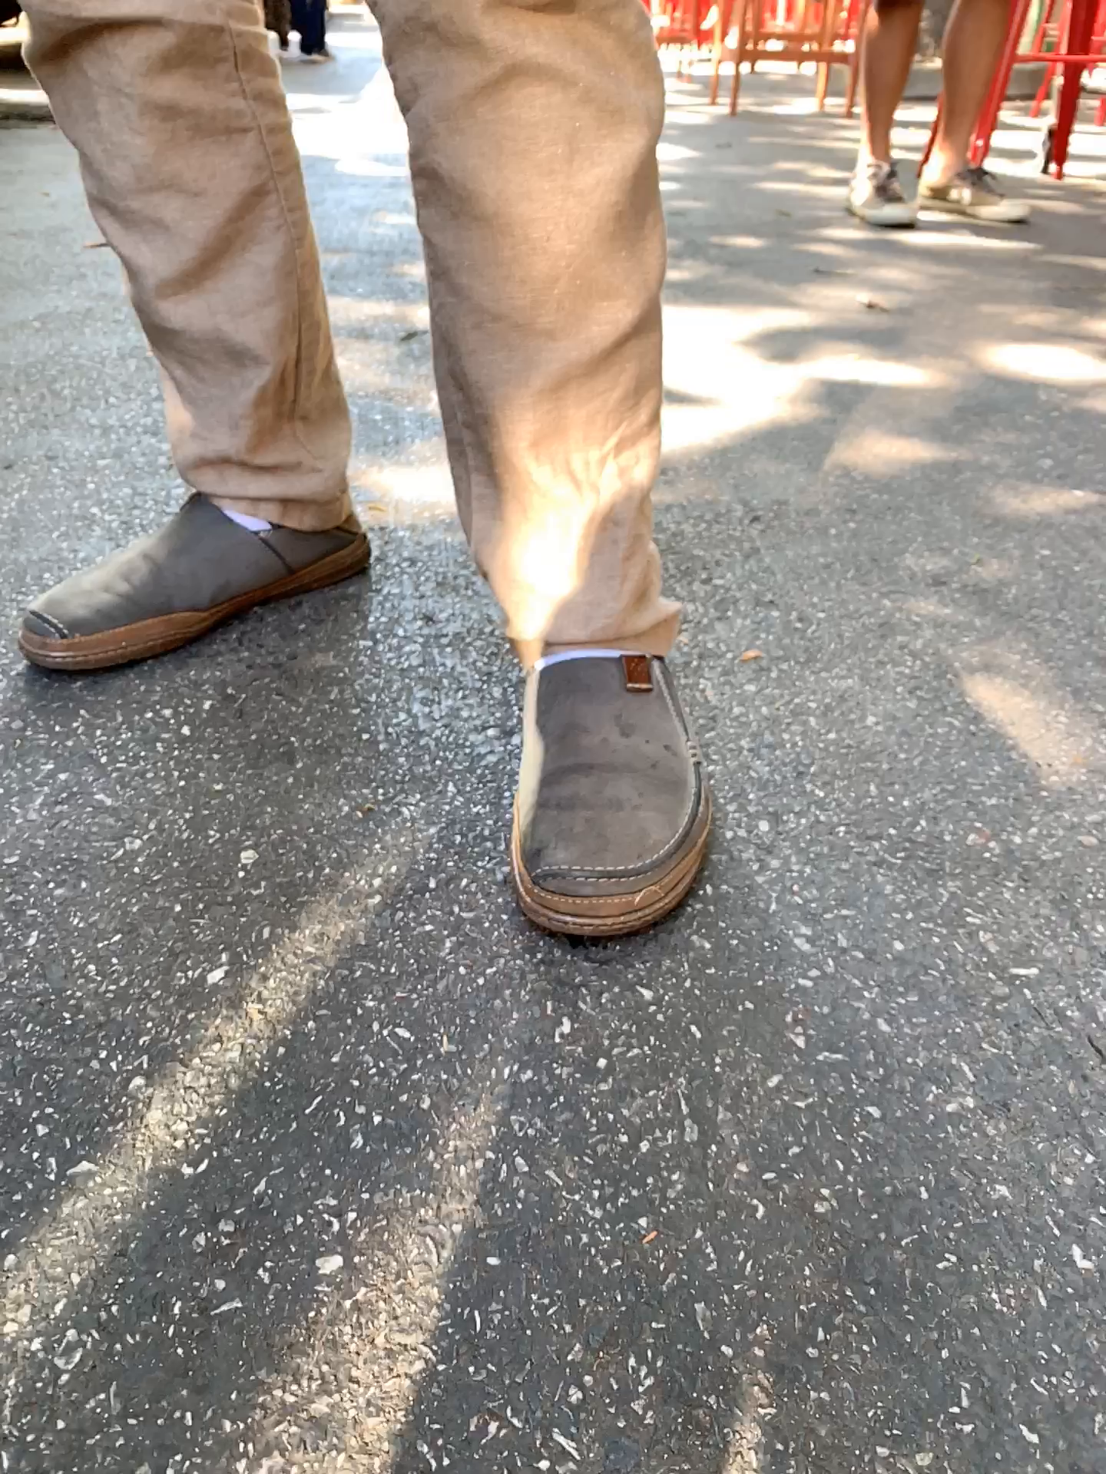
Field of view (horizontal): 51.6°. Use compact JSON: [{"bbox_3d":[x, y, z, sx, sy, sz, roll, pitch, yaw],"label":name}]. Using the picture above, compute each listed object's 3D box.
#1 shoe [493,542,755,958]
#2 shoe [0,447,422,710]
[{"bbox_3d":[0.028,-0.013,0.680,0.120,0.080,0.322,-1,33,-1],"label":"shoe"},{"bbox_3d":[-0.255,-0.132,0.849,0.120,0.060,0.321,23,40,32],"label":"shoe"}]
